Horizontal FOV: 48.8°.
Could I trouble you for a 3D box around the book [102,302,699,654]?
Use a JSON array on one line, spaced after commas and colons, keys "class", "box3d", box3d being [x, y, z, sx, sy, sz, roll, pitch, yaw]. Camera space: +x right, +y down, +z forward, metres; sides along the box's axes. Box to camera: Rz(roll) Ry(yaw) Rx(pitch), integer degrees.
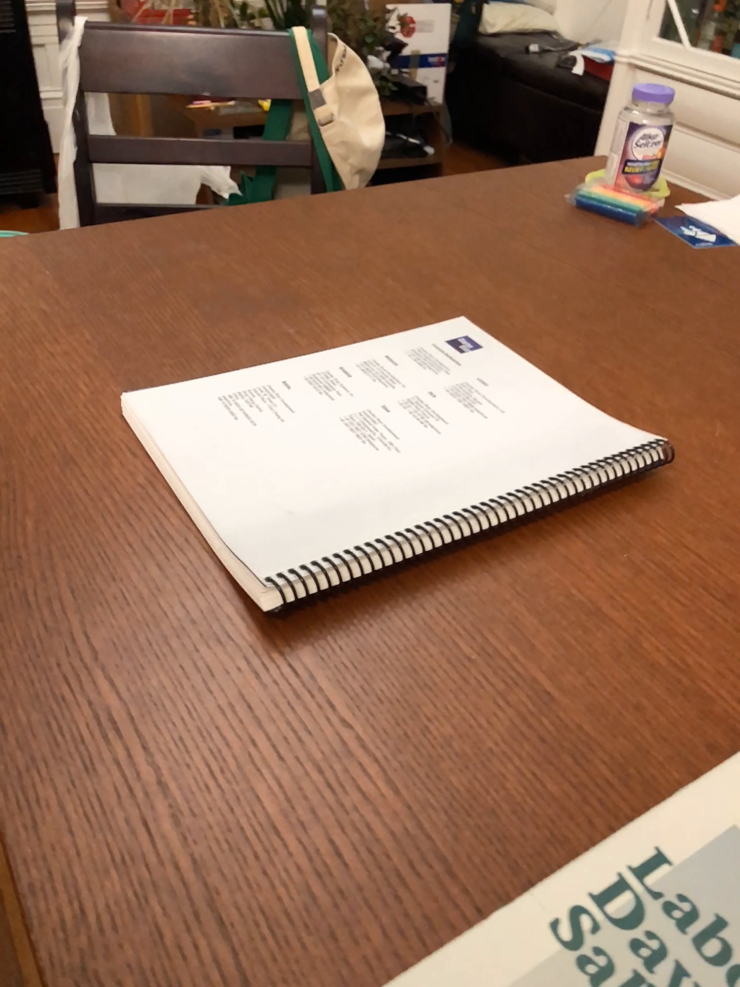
[{"class": "book", "box3d": [0.016, -0.039, 0.519, 0.301, 0.020, 0.231, -19, 43, -27]}]
